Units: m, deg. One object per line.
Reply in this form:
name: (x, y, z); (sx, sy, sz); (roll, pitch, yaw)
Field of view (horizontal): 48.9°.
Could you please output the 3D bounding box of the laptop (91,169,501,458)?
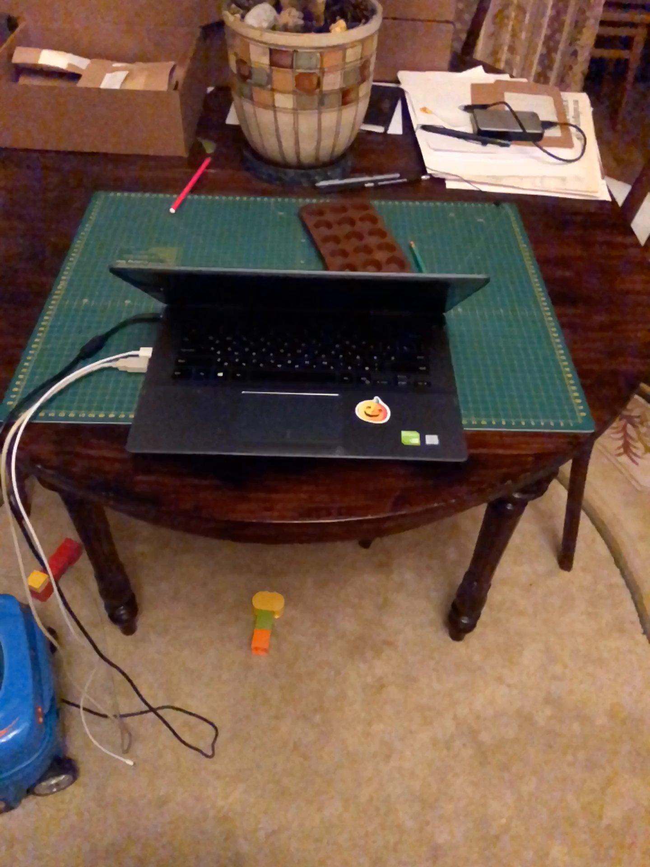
laptop: (-0.022, -0.118, 0.688); (0.317, 0.162, 0.225); (2, 47, -1)
